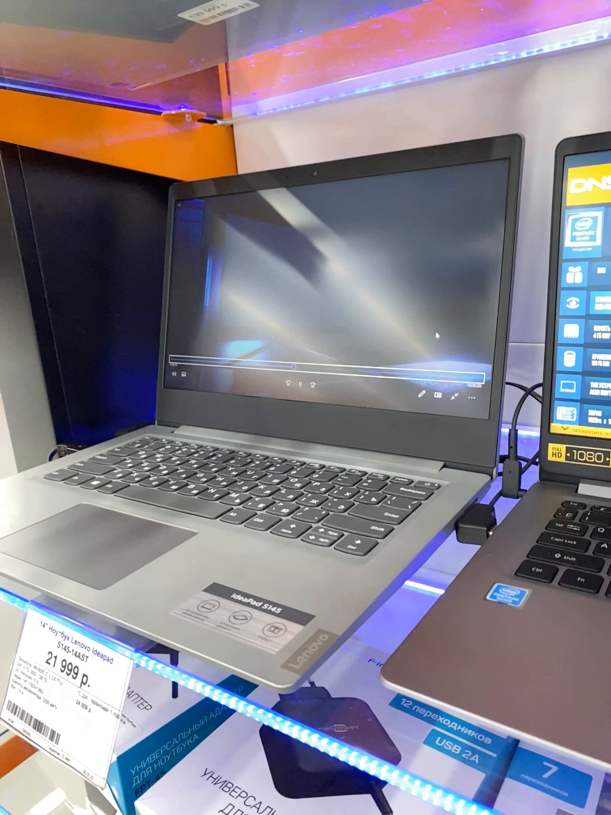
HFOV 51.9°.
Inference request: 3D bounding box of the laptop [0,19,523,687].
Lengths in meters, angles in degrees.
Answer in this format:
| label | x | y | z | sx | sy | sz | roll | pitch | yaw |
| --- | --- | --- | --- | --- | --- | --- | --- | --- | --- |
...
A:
| label | x | y | z | sx | sy | sz | roll | pitch | yaw |
| --- | --- | --- | --- | --- | --- | --- | --- | --- | --- |
| laptop | -0.066 | -0.054 | 0.412 | 0.327 | 0.216 | 0.303 | 5 | 17 | 34 |
